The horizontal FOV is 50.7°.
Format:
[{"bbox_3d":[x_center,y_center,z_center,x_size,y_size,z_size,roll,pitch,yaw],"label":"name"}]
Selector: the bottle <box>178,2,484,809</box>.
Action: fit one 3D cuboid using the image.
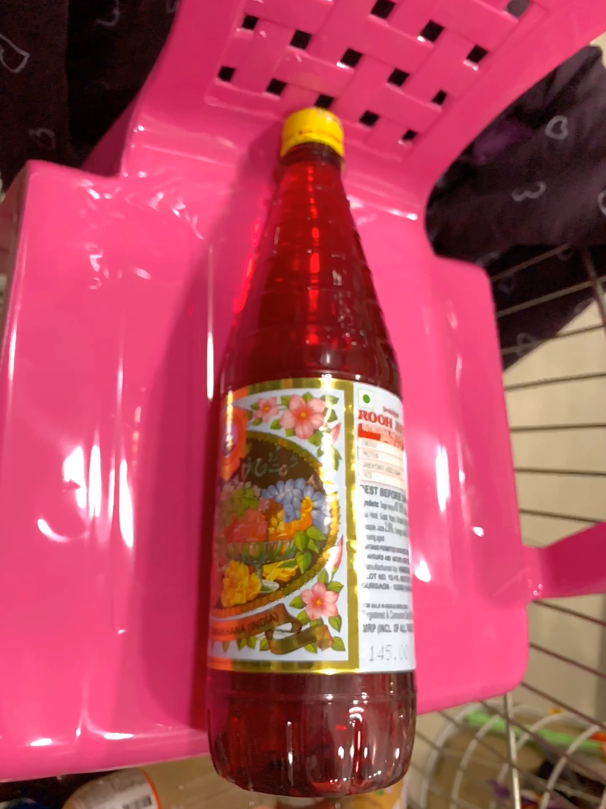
[{"bbox_3d":[0.018,0.002,0.235,0.080,0.060,0.260,15,73,-42],"label":"bottle"}]
